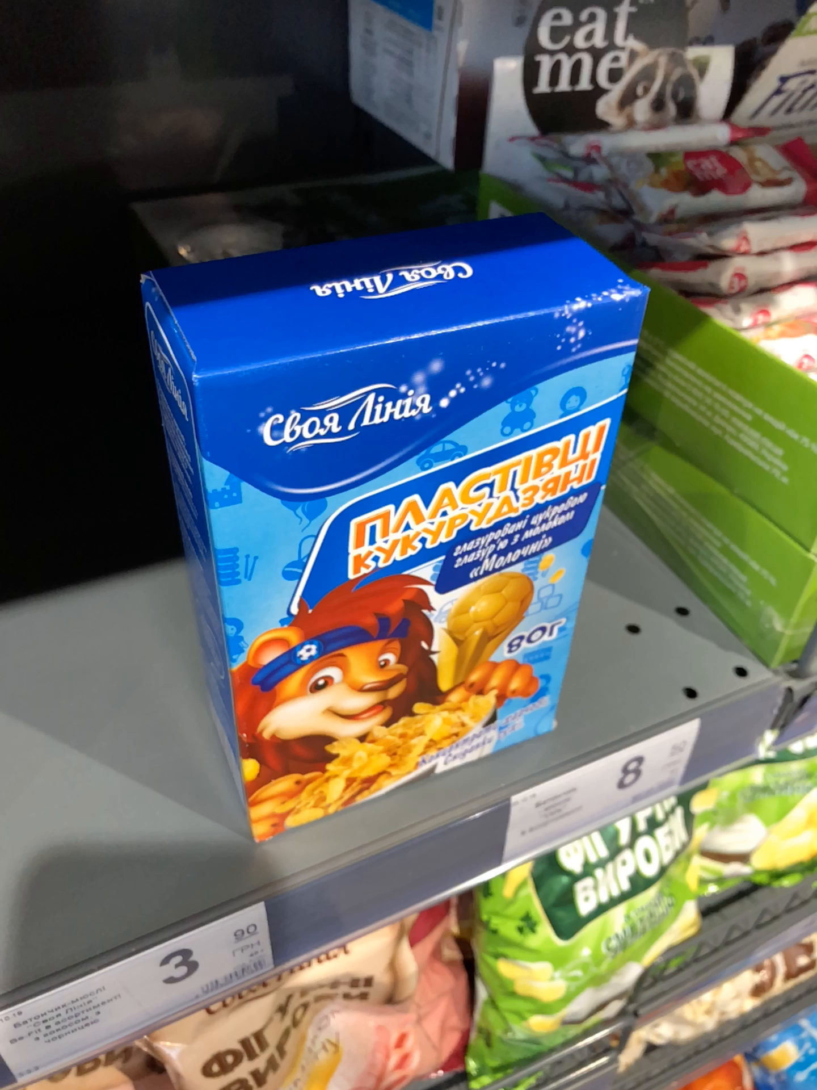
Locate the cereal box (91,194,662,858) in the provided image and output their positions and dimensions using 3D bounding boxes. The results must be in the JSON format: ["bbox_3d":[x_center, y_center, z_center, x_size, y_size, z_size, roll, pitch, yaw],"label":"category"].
[{"bbox_3d":[-0.011,-0.001,0.270,0.120,0.169,0.060,-16,45,-22],"label":"cereal box"}]
